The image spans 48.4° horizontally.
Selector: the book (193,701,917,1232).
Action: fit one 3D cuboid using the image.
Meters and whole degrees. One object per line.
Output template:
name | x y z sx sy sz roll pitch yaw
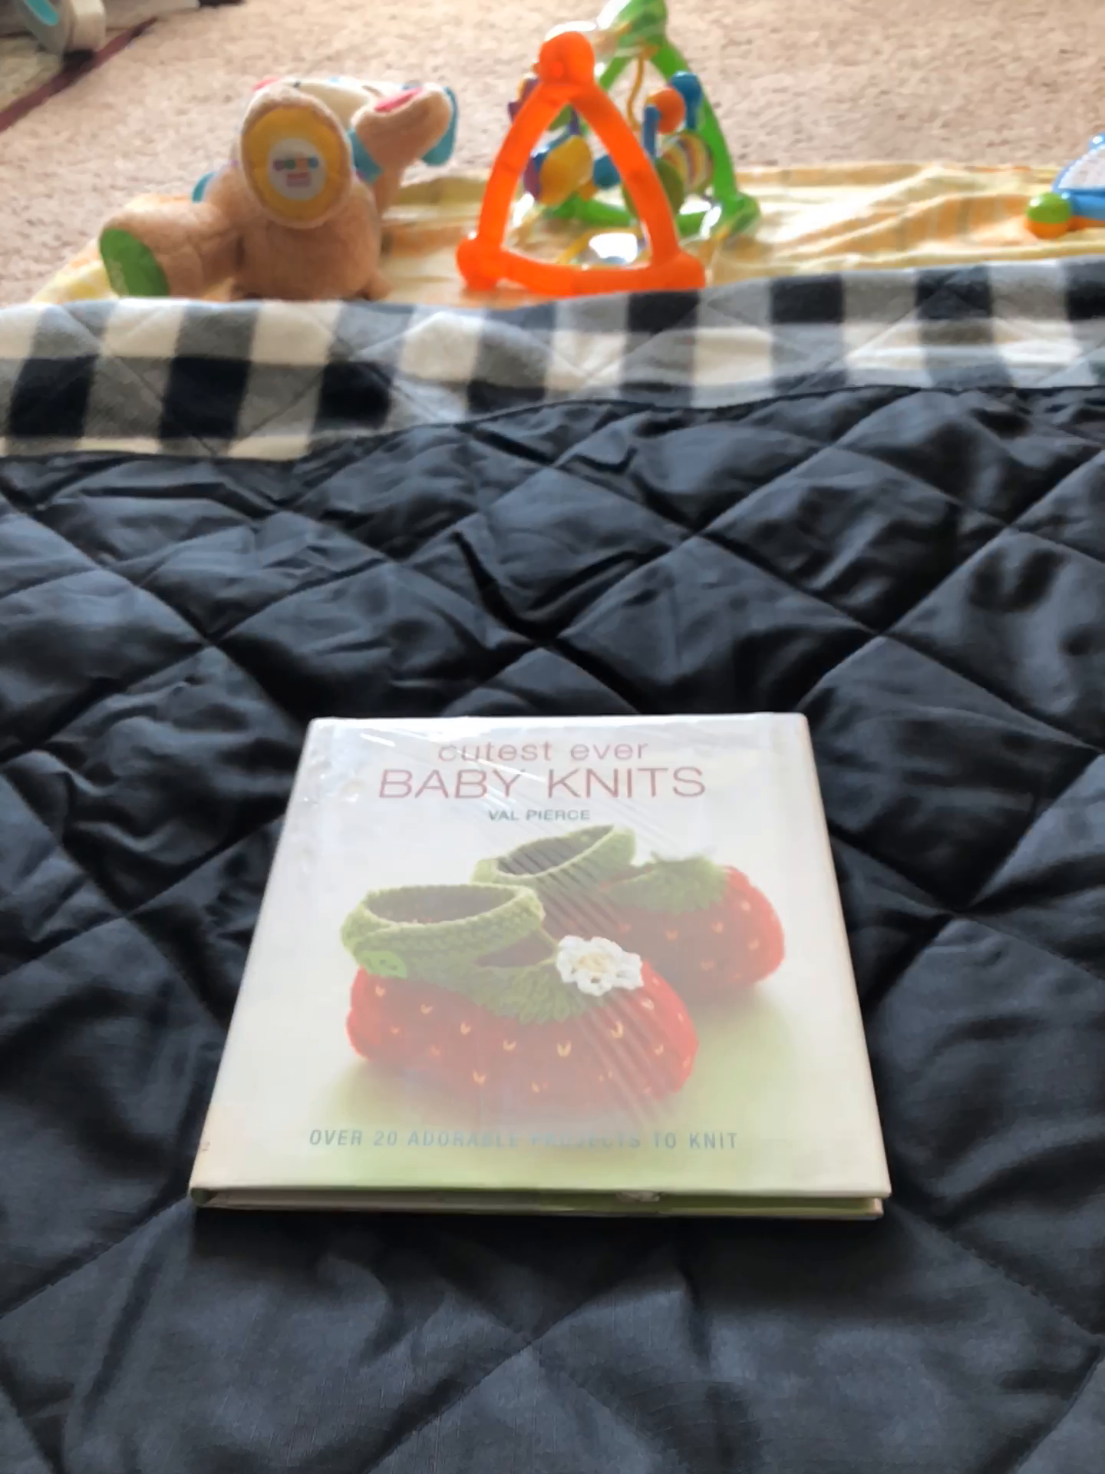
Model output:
book | 0.002 0.062 0.414 0.197 0.020 0.200 0 43 1
